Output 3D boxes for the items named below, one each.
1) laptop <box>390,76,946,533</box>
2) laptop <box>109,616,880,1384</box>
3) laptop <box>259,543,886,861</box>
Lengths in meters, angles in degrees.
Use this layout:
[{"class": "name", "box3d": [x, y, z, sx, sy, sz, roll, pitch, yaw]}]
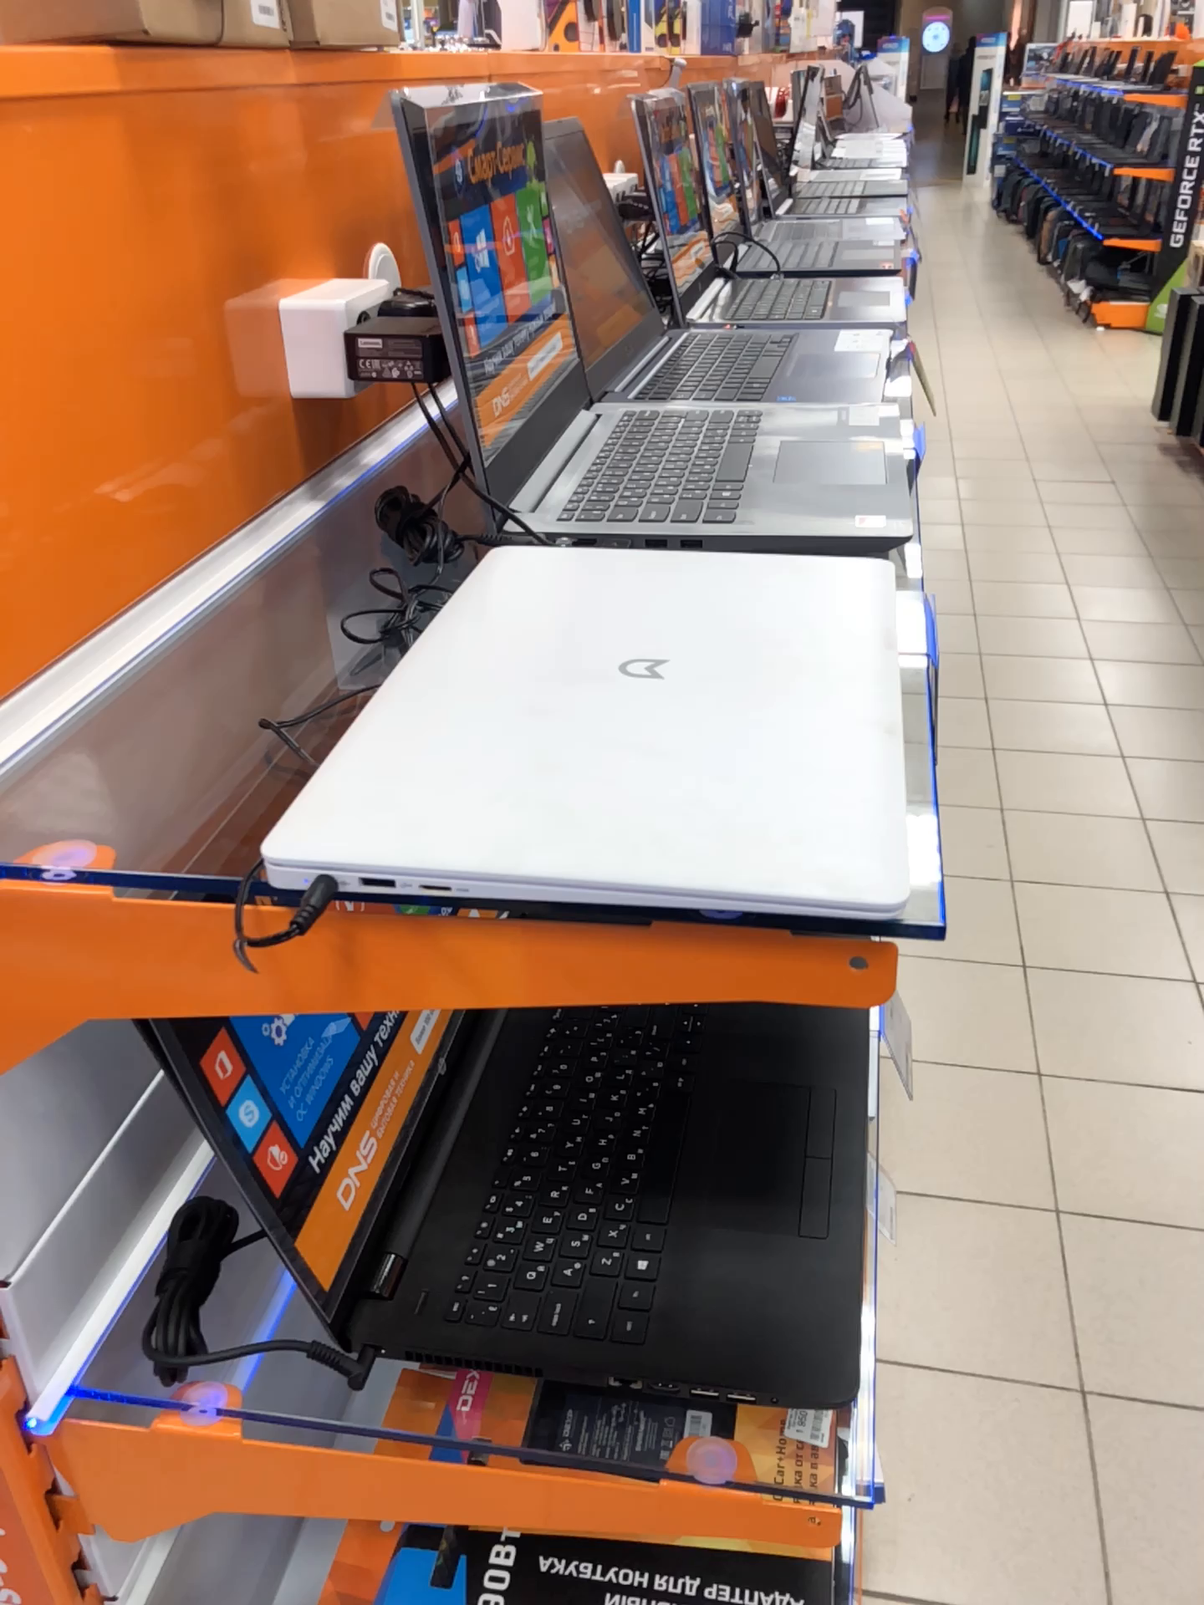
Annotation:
[{"class": "laptop", "box3d": [0.050, -0.339, 0.859, 0.278, 0.224, 0.346, 2, 29, 8]}, {"class": "laptop", "box3d": [-0.016, 0.073, 0.740, 0.306, 0.228, 0.366, 4, 30, 12]}, {"class": "laptop", "box3d": [0.012, -0.062, 0.573, 0.211, 0.002, 0.314, 3, 29, 9]}]
